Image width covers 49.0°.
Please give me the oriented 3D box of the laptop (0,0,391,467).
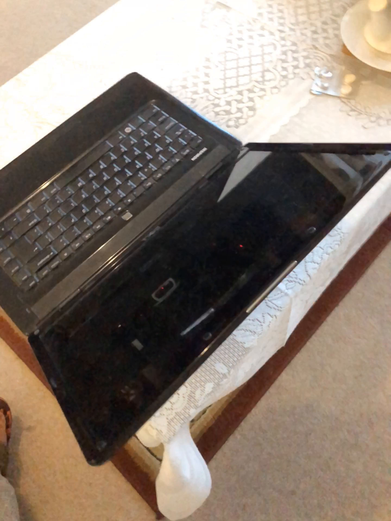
[{"bbox_3d":[-0.083,-0.076,0.477,0.420,0.122,0.364,39,74,24],"label":"laptop"}]
